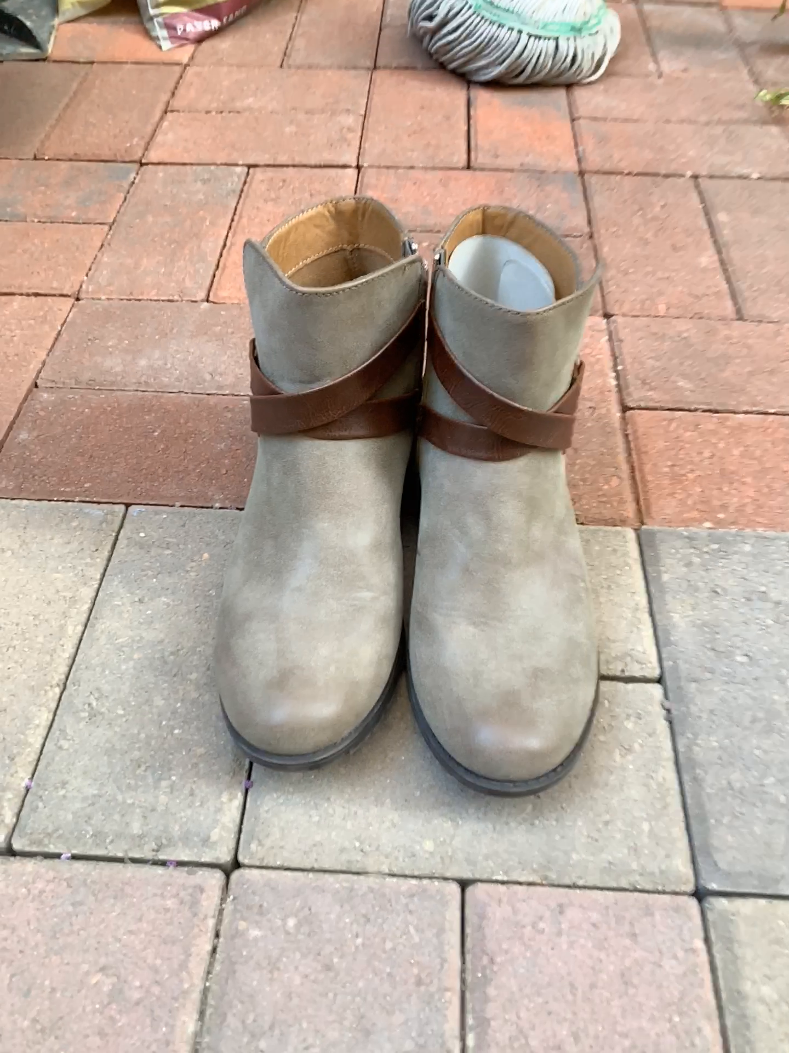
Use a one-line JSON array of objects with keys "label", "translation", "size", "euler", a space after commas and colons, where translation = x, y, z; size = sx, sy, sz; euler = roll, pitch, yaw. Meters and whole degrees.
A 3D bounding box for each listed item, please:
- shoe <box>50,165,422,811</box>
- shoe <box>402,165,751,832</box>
[{"label": "shoe", "translation": [-0.041, -0.022, 0.368], "size": [0.095, 0.165, 0.240], "euler": [2, 52, 3]}, {"label": "shoe", "translation": [0.056, -0.019, 0.366], "size": [0.095, 0.165, 0.252], "euler": [1, 52, 2]}]
